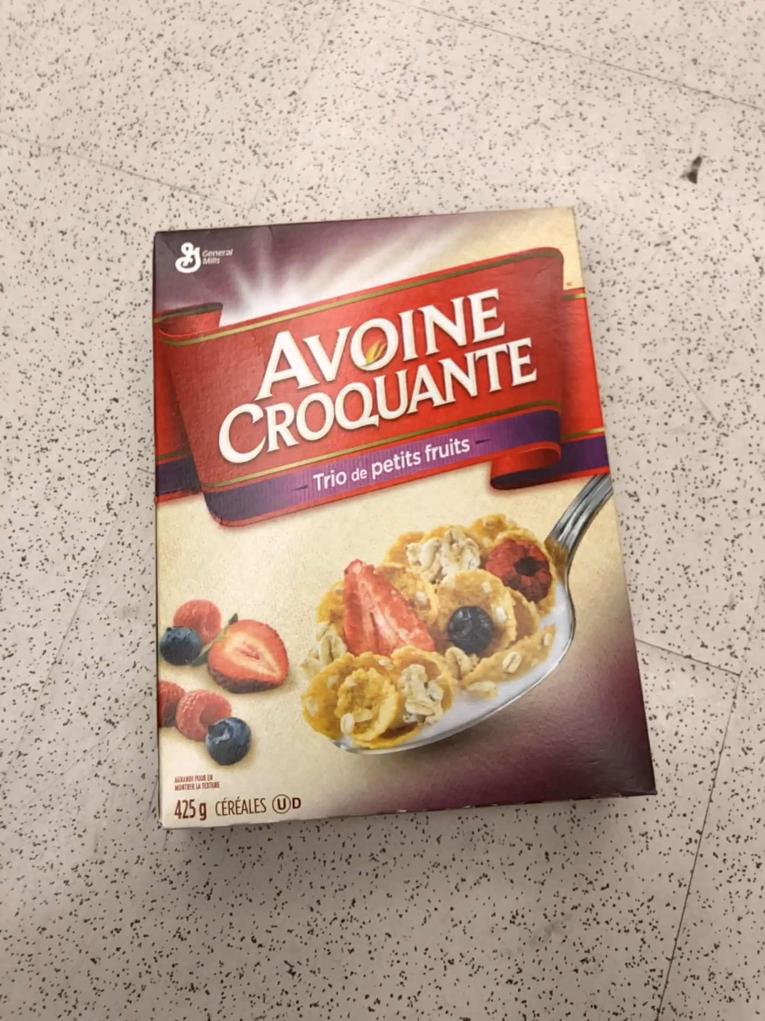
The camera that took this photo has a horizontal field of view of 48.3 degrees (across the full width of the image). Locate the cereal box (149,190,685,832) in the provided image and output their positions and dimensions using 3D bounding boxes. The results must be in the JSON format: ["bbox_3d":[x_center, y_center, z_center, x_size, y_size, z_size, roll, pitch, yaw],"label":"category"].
[{"bbox_3d":[0.006,-0.005,0.397,0.210,0.060,0.270,-4,77,-1],"label":"cereal box"}]
